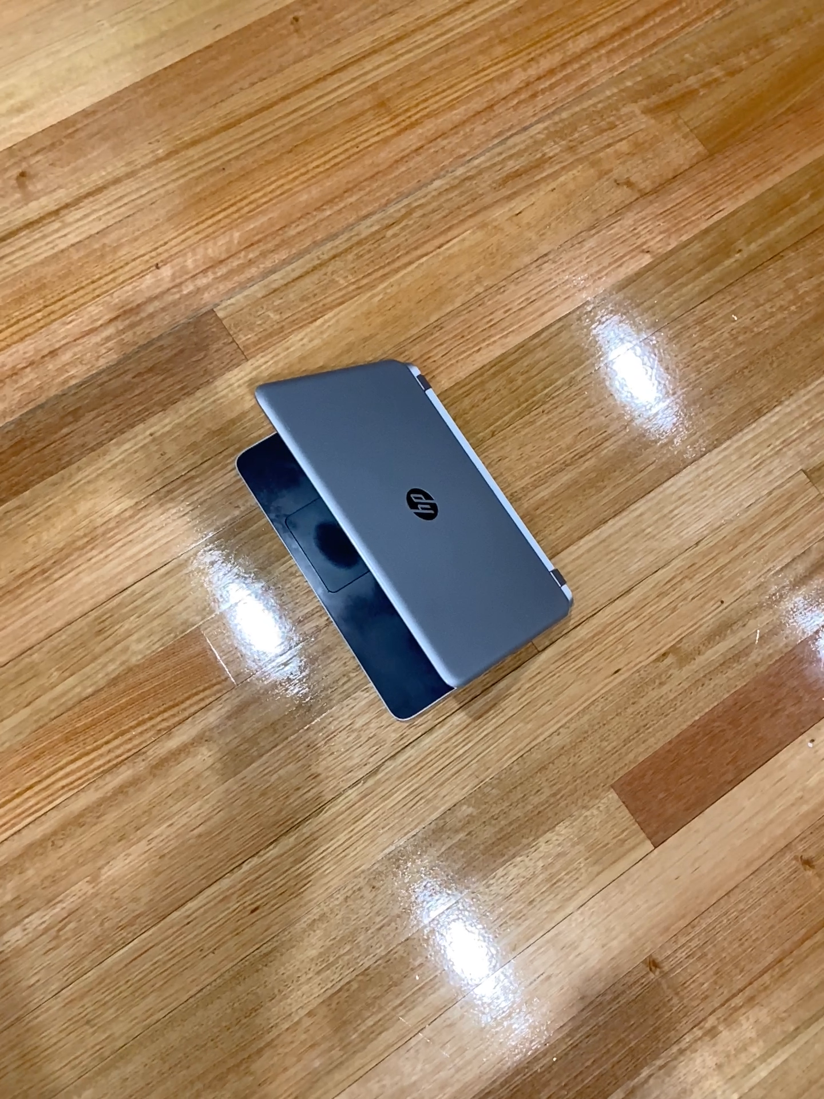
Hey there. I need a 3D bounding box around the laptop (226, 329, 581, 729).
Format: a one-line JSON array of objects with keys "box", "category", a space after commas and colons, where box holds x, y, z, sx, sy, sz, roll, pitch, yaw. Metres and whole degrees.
[{"box": [-0.012, -0.021, 0.870, 0.209, 0.103, 0.332, -32, 80, -11], "category": "laptop"}]
